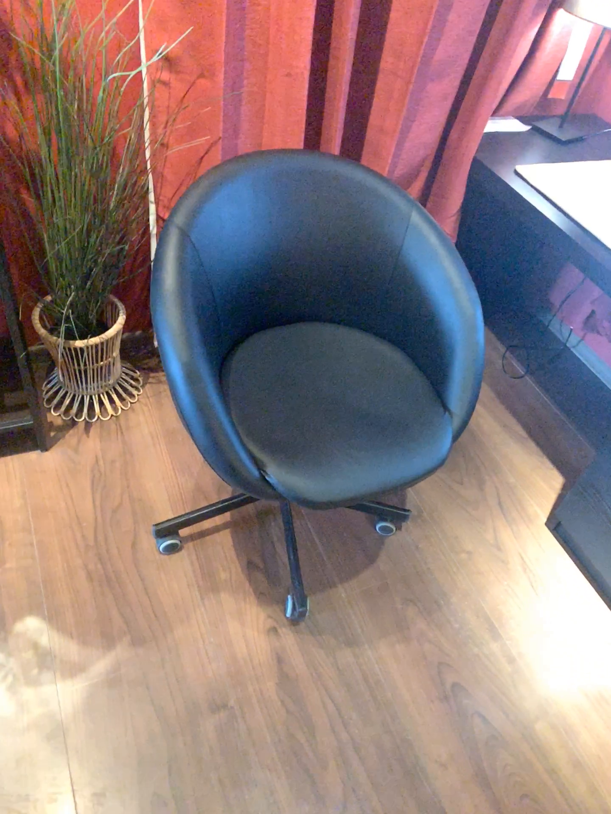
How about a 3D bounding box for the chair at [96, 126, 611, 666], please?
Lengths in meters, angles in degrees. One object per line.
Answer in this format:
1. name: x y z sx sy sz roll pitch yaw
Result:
1. chair: 0.029 -0.041 1.198 0.621 0.697 0.581 -18 53 -27
